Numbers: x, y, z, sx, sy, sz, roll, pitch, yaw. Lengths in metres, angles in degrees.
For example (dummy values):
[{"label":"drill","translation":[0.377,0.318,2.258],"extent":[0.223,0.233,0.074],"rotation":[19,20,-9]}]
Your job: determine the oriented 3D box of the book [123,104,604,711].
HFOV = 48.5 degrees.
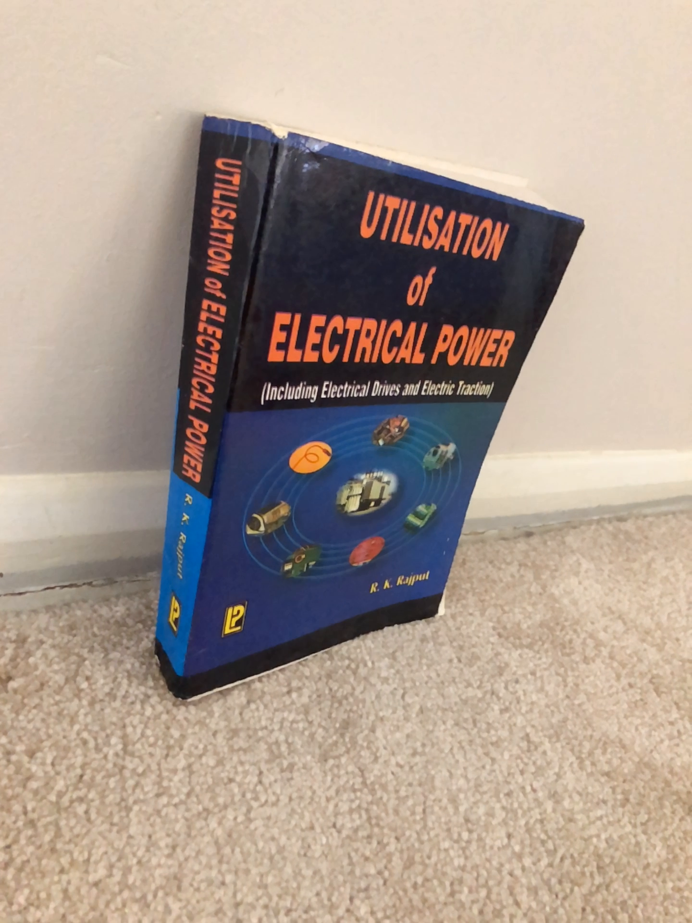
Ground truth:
[{"label":"book","translation":[0.010,-0.019,0.357],"extent":[0.191,0.229,0.050],"rotation":[-7,29,-42]}]
